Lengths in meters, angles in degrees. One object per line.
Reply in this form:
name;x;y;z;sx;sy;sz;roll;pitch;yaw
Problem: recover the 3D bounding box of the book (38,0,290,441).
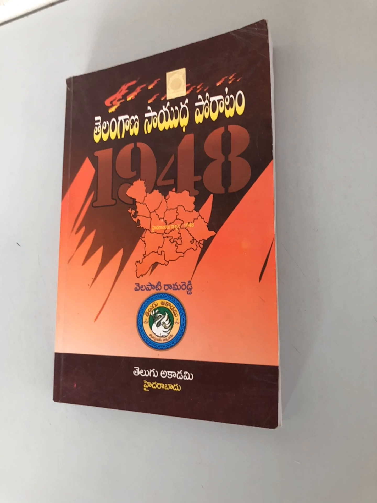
book;-0.020;-0.025;0.295;0.170;0.030;0.270;-3;81;23
